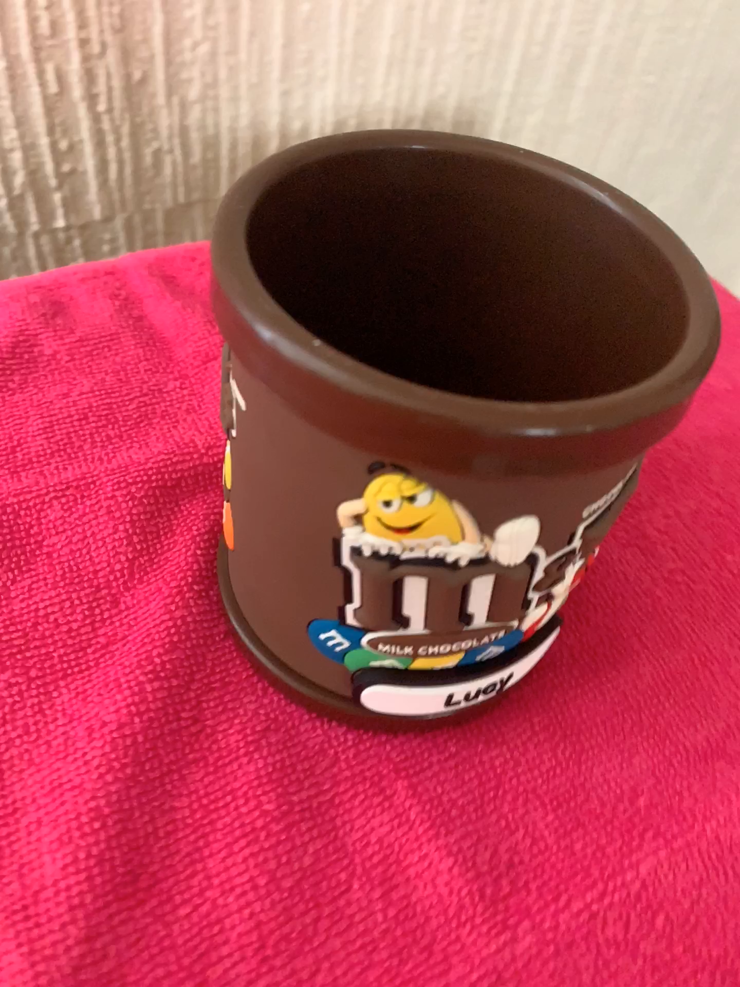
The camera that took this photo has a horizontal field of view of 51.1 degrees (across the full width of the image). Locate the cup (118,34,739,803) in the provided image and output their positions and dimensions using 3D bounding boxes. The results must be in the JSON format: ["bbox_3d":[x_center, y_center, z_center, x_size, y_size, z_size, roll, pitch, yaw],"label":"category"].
[{"bbox_3d":[0.027,-0.023,0.173,0.121,0.099,0.090,-32,61,-32],"label":"cup"}]
